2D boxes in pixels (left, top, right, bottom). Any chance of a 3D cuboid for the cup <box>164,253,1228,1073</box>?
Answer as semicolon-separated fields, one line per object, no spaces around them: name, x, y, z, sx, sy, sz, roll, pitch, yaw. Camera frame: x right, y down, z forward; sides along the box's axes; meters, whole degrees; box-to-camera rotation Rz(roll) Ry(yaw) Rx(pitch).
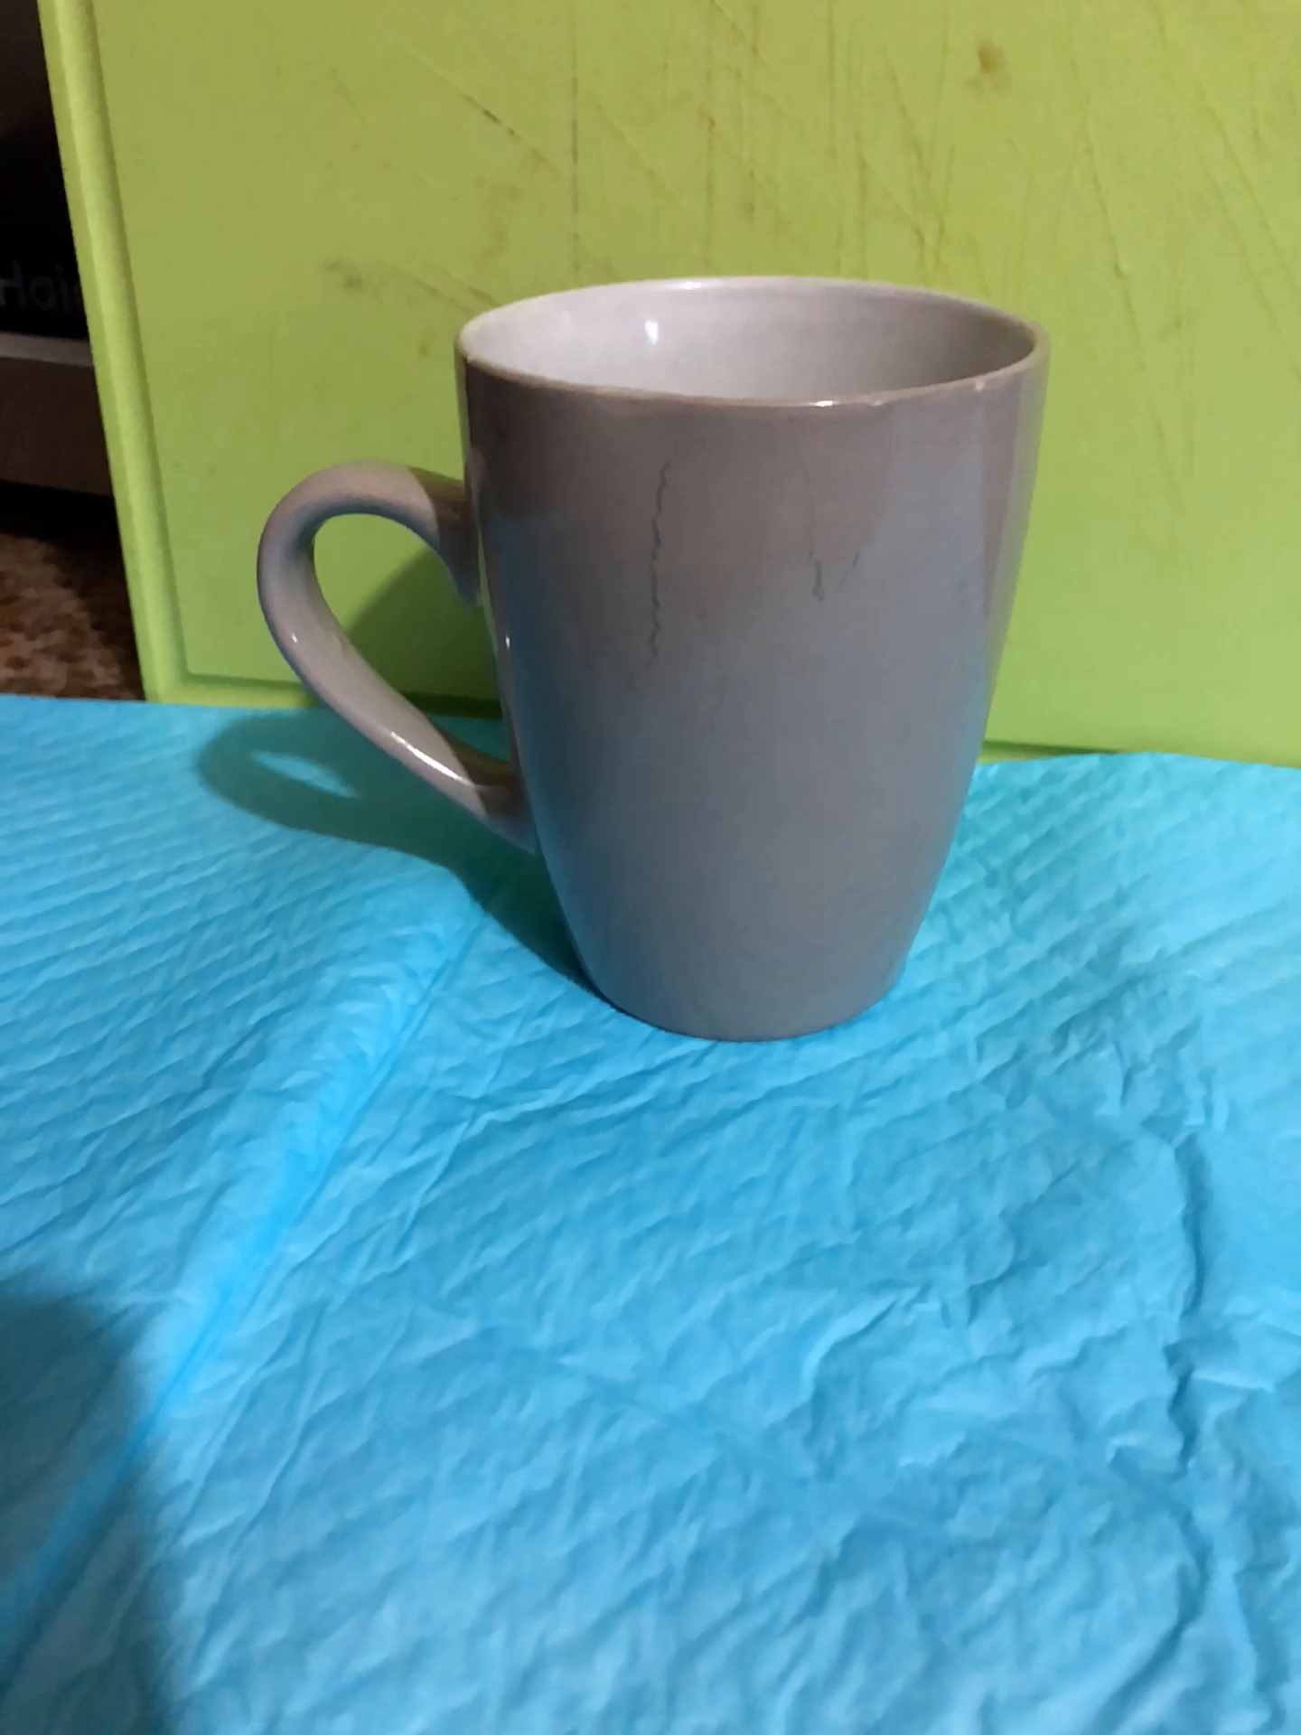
cup;0.003;-0.032;0.203;0.110;0.090;0.070;-2;30;-4
